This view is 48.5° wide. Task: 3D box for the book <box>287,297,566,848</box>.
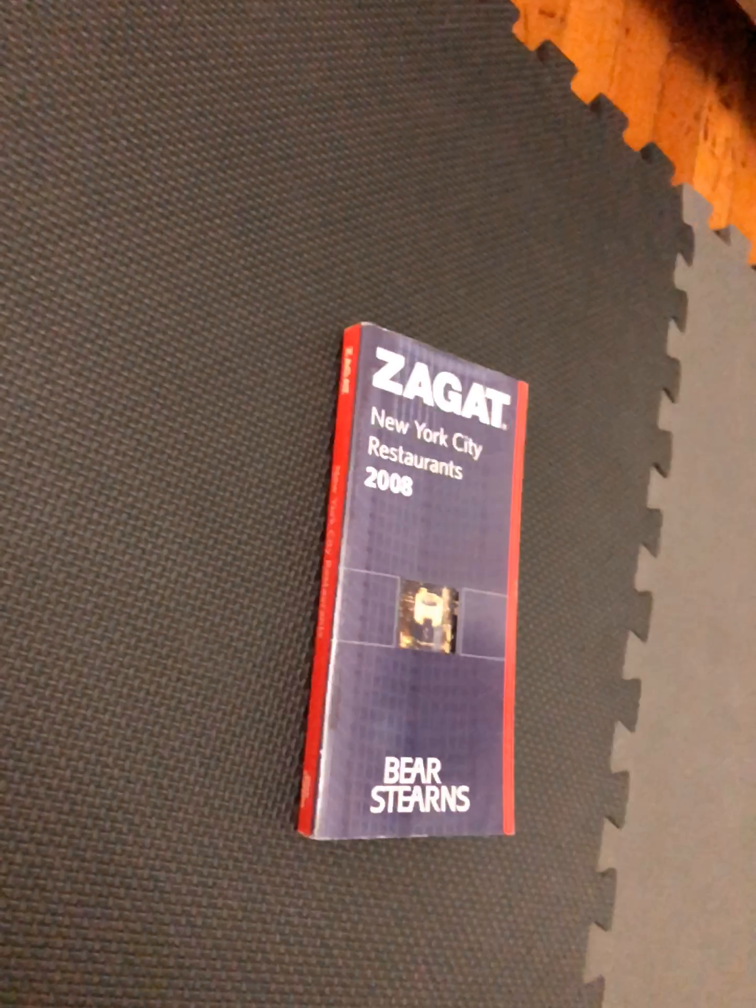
[{"bbox_3d":[0.029,0.033,0.381,0.120,0.030,0.220,13,77,-36],"label":"book"}]
